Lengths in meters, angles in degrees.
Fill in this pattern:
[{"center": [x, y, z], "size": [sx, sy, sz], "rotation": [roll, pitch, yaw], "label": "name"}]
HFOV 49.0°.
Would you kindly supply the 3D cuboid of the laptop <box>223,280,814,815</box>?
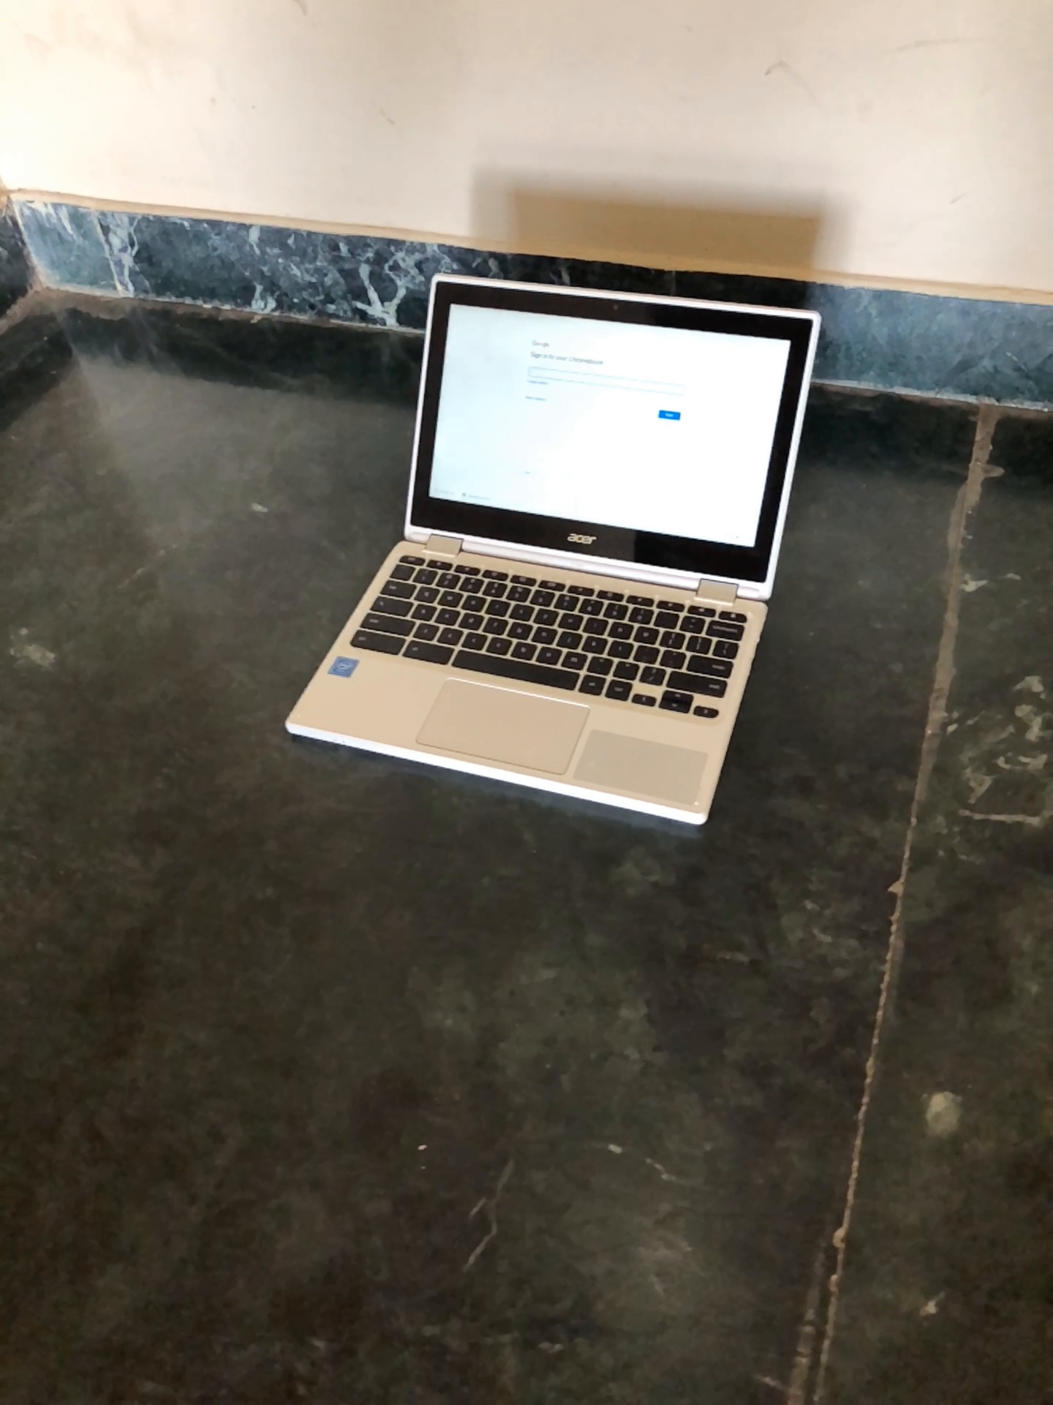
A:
[{"center": [0.017, -0.122, 0.776], "size": [0.280, 0.156, 0.315], "rotation": [11, 50, 15], "label": "laptop"}]
